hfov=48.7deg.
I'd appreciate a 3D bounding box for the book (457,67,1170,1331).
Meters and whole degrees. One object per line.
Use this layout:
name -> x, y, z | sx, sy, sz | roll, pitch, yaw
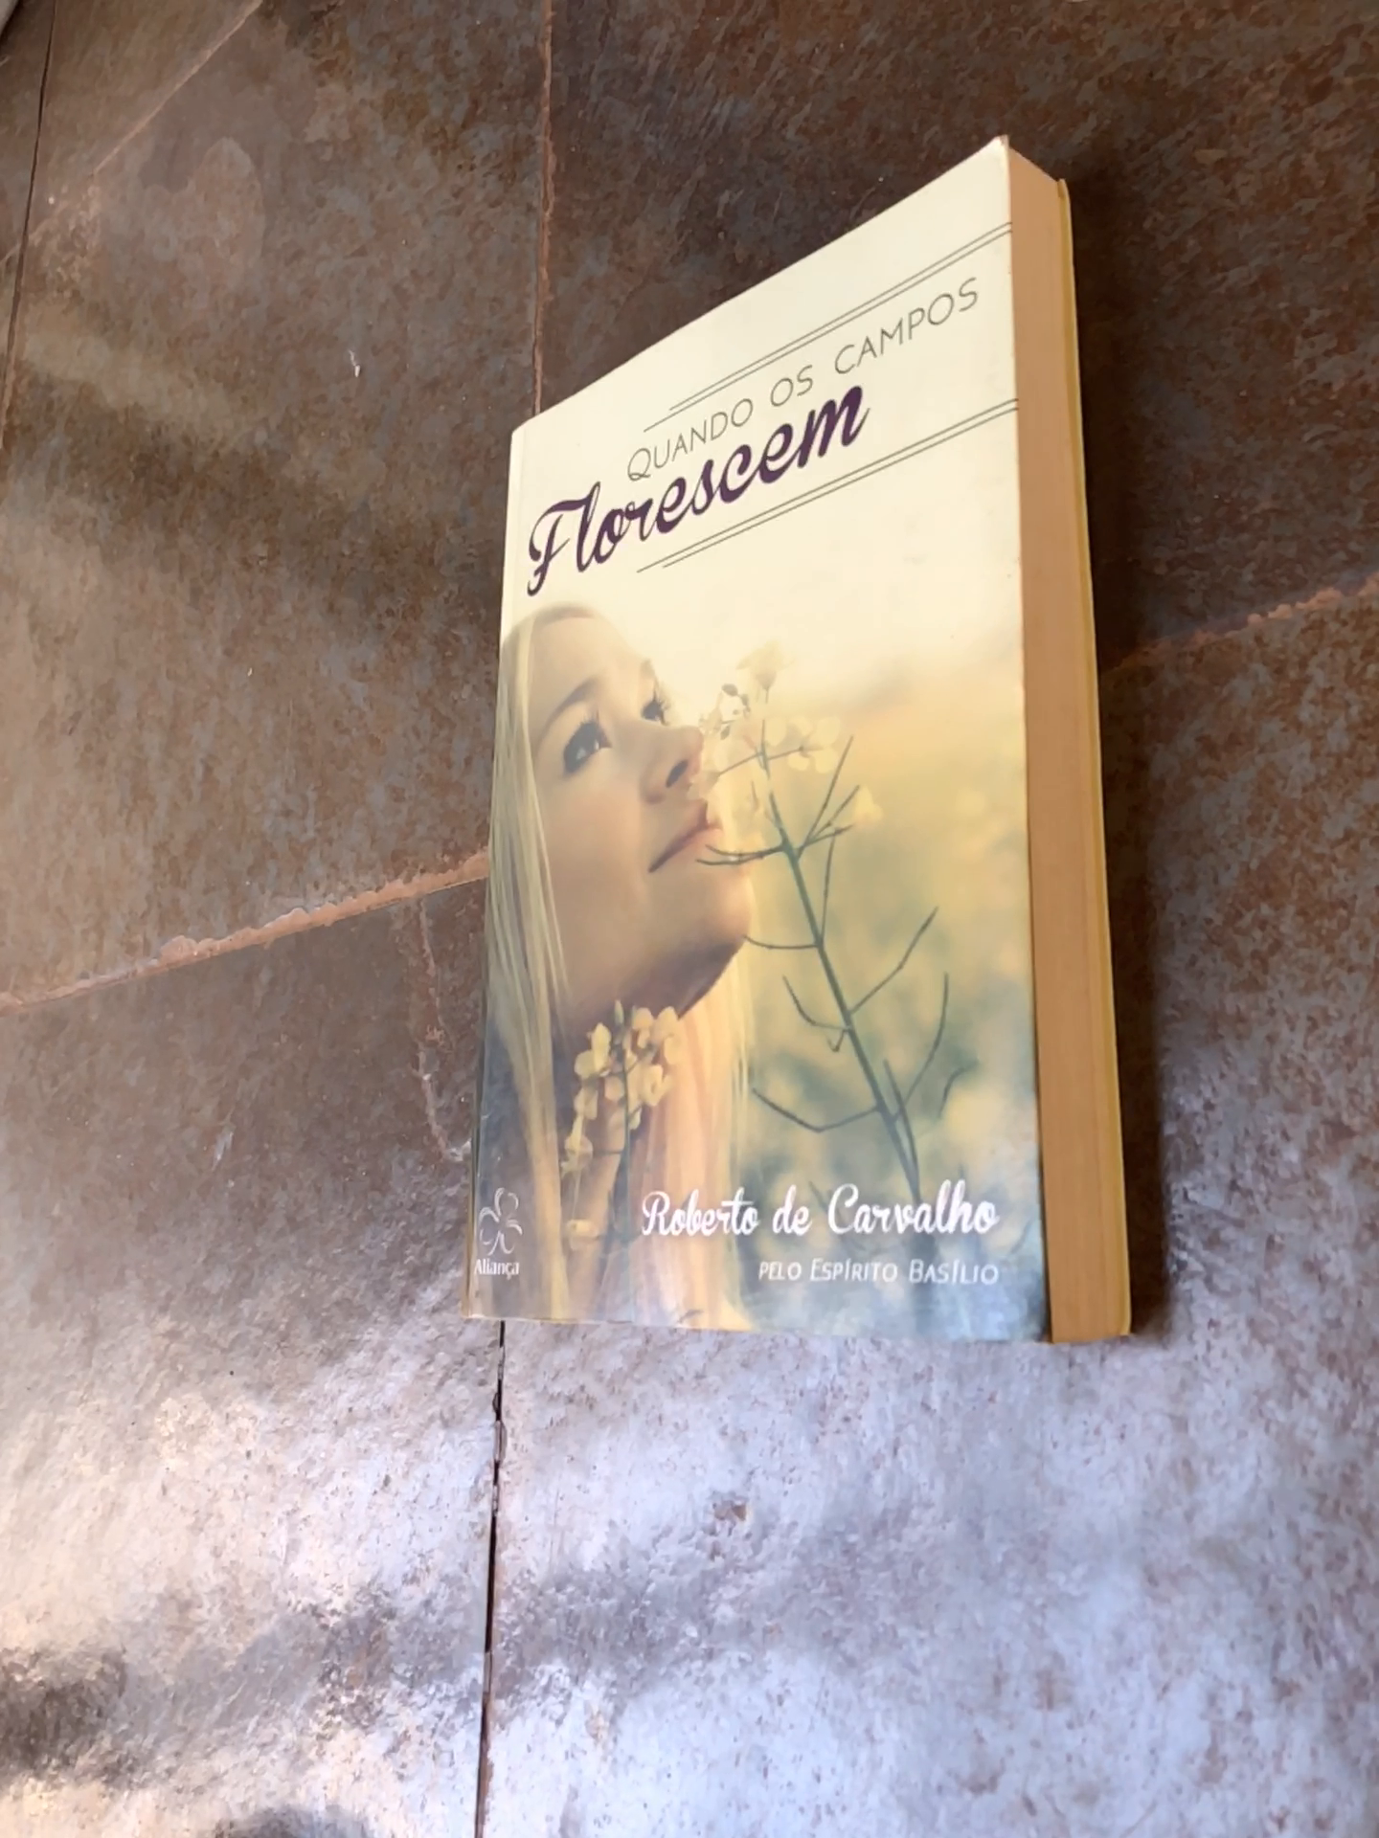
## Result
book -> 0.014, -0.033, 0.318 | 0.161, 0.022, 0.225 | -13, 71, 44
